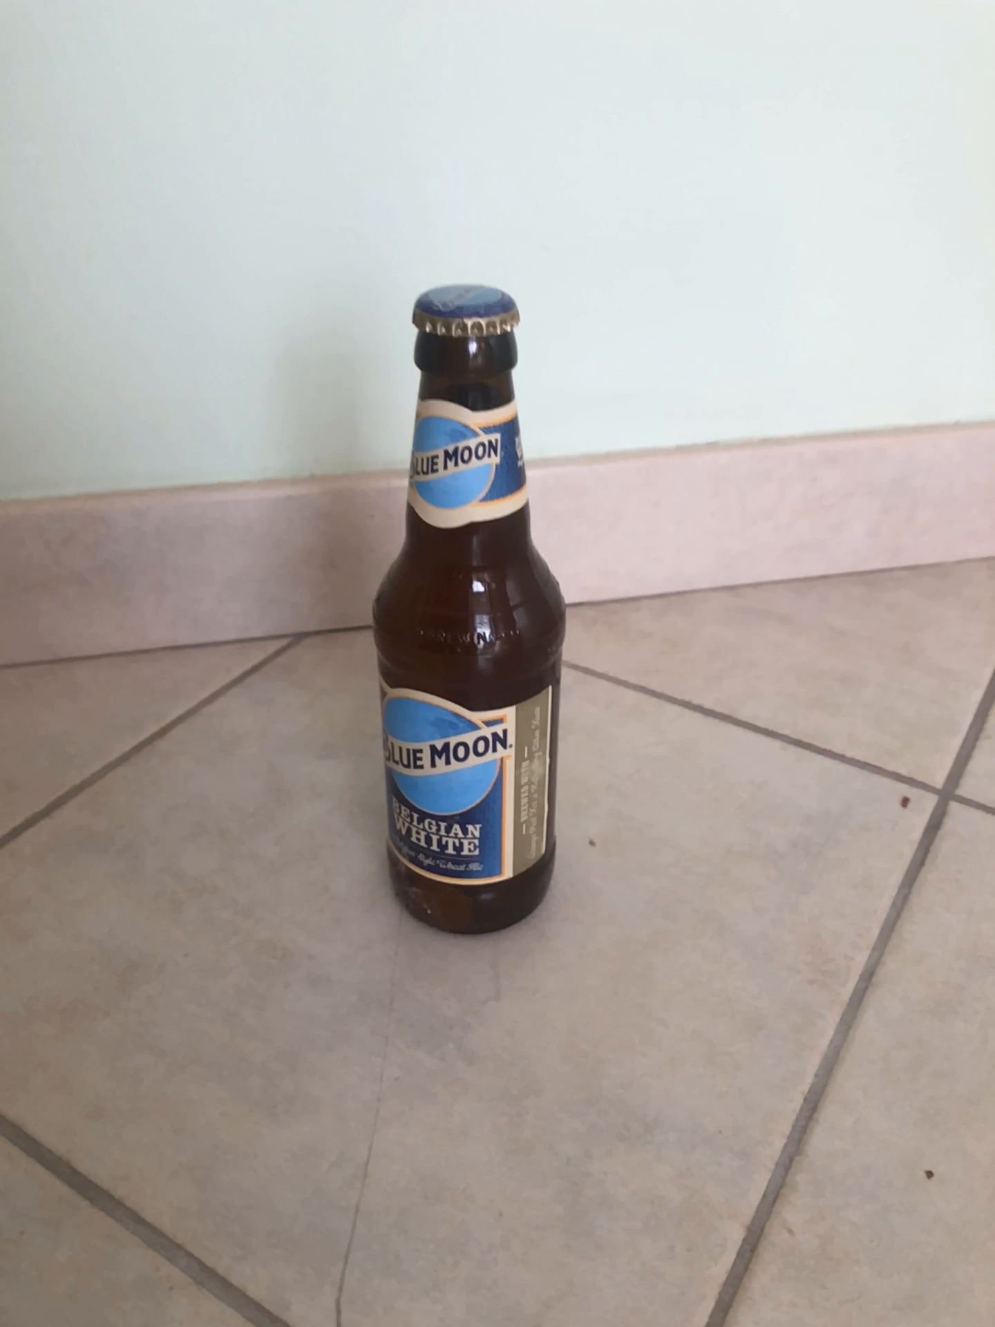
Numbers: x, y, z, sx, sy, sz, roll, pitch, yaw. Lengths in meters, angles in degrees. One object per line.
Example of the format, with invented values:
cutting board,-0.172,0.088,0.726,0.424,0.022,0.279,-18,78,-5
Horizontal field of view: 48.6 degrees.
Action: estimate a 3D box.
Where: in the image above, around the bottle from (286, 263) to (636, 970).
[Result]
bottle,-0.009,-0.009,0.355,0.070,0.209,0.070,1,34,0
